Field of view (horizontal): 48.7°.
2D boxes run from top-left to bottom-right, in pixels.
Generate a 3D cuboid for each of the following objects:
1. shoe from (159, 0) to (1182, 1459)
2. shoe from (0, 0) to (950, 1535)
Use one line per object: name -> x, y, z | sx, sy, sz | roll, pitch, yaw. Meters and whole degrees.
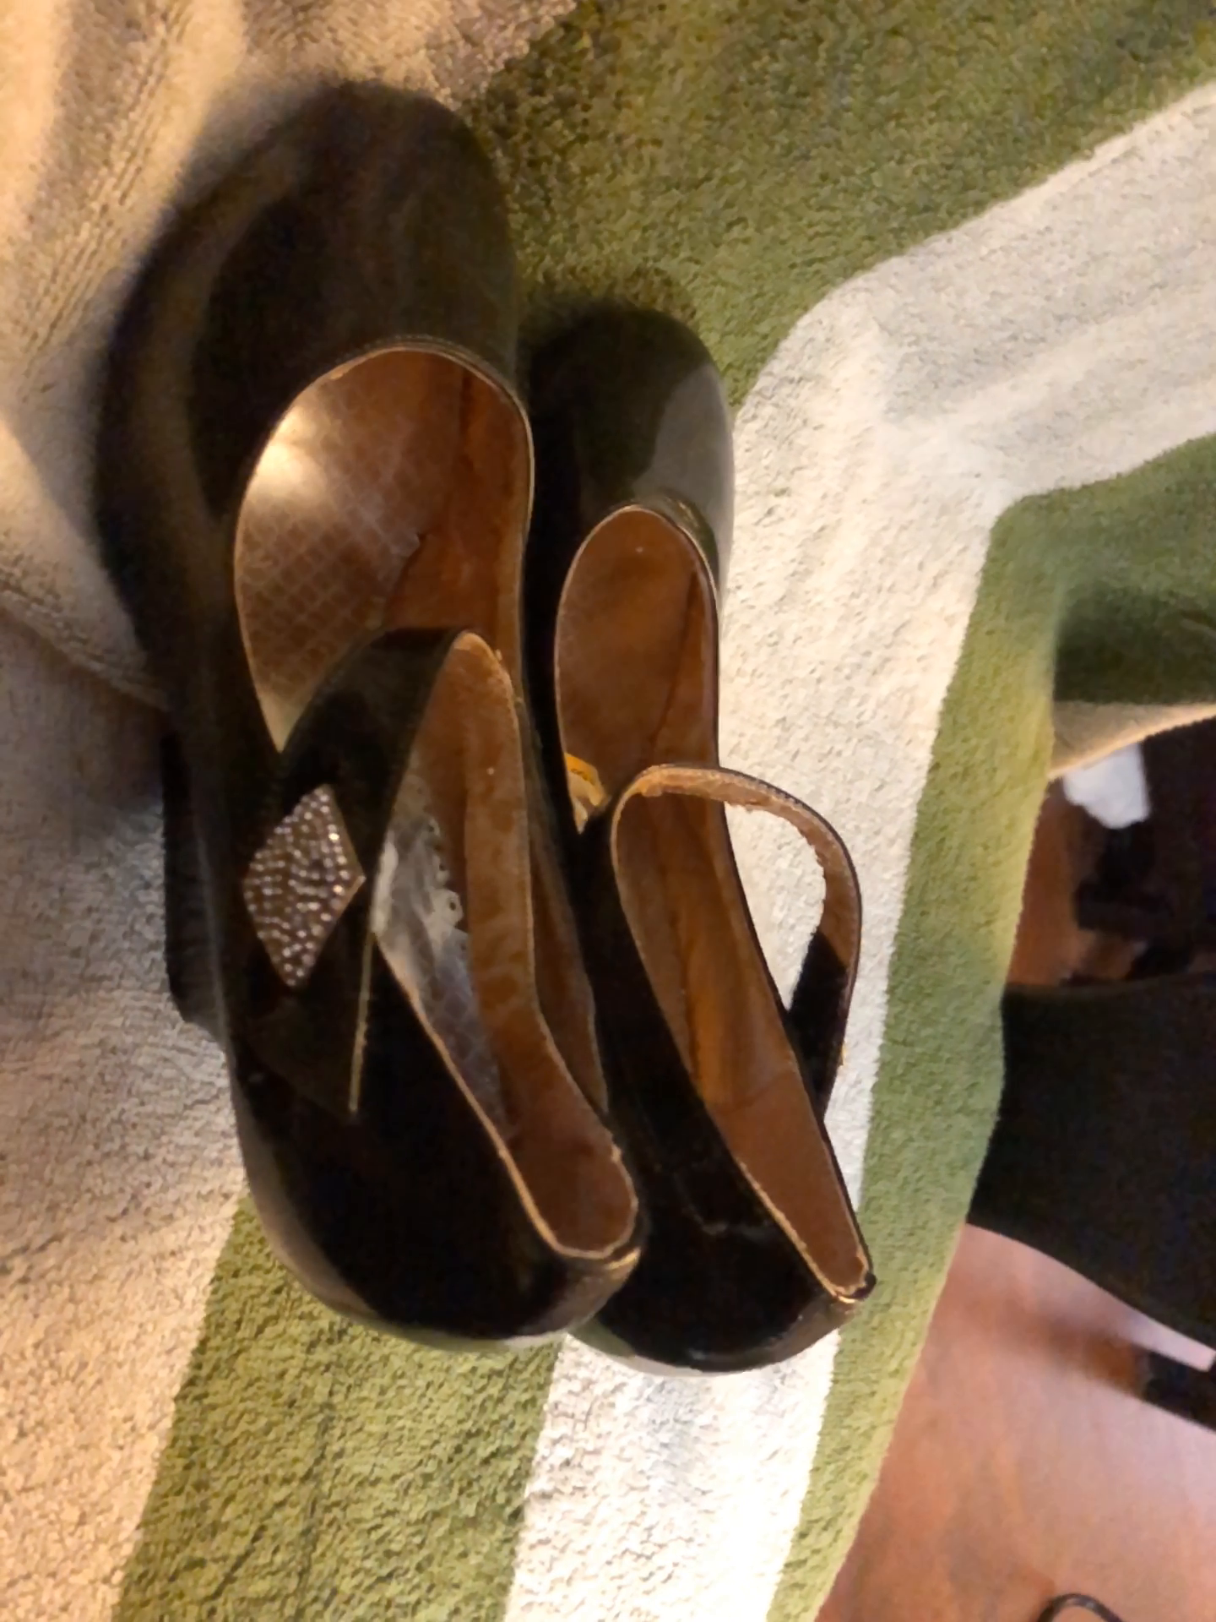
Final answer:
shoe -> 0.015, -0.015, 0.278 | 0.090, 0.119, 0.240 | 25, 79, -42
shoe -> -0.037, -0.034, 0.233 | 0.090, 0.119, 0.240 | 13, 87, -43
